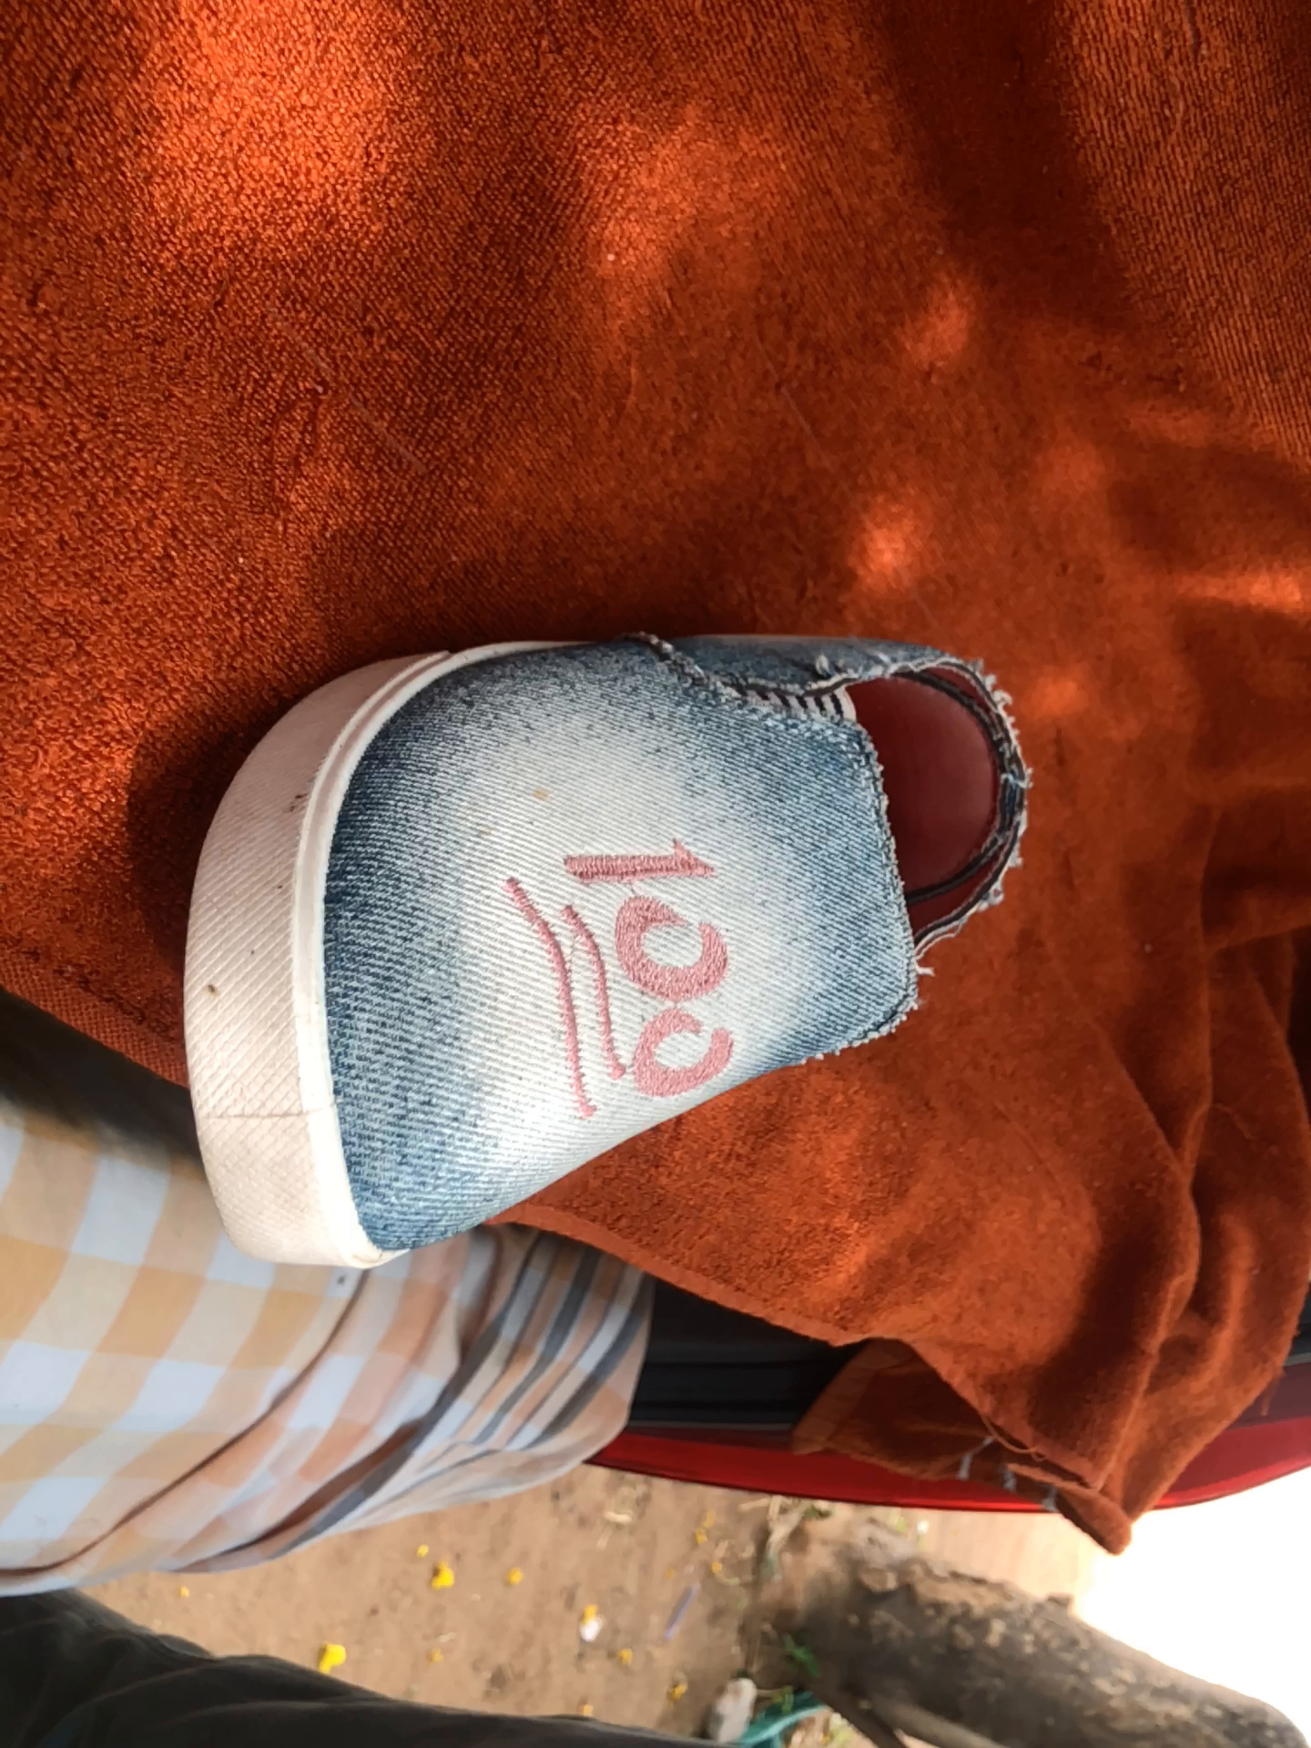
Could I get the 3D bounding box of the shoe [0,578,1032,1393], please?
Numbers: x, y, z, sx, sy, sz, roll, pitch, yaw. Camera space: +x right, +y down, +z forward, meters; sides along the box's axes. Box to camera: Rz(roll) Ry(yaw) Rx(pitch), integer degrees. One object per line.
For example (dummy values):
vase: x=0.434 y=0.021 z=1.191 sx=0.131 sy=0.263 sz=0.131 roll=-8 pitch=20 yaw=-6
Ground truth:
shoe: x=-0.001 y=-0.006 z=0.308 sx=0.242 sy=0.079 sz=0.090 roll=-25 pitch=117 yaw=-54
